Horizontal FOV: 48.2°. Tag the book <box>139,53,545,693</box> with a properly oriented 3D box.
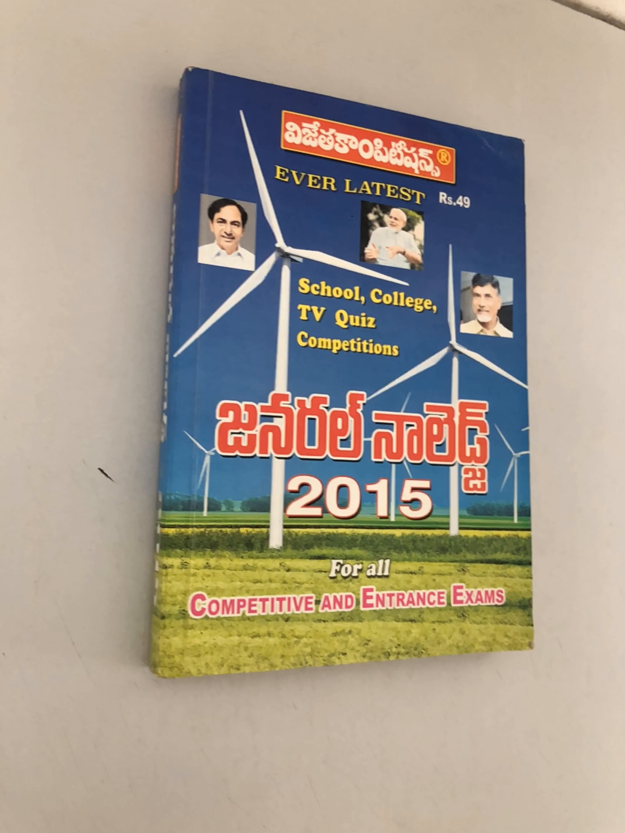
[{"bbox_3d":[0.014,-0.013,0.230,0.129,0.022,0.182,3,83,-21],"label":"book"}]
